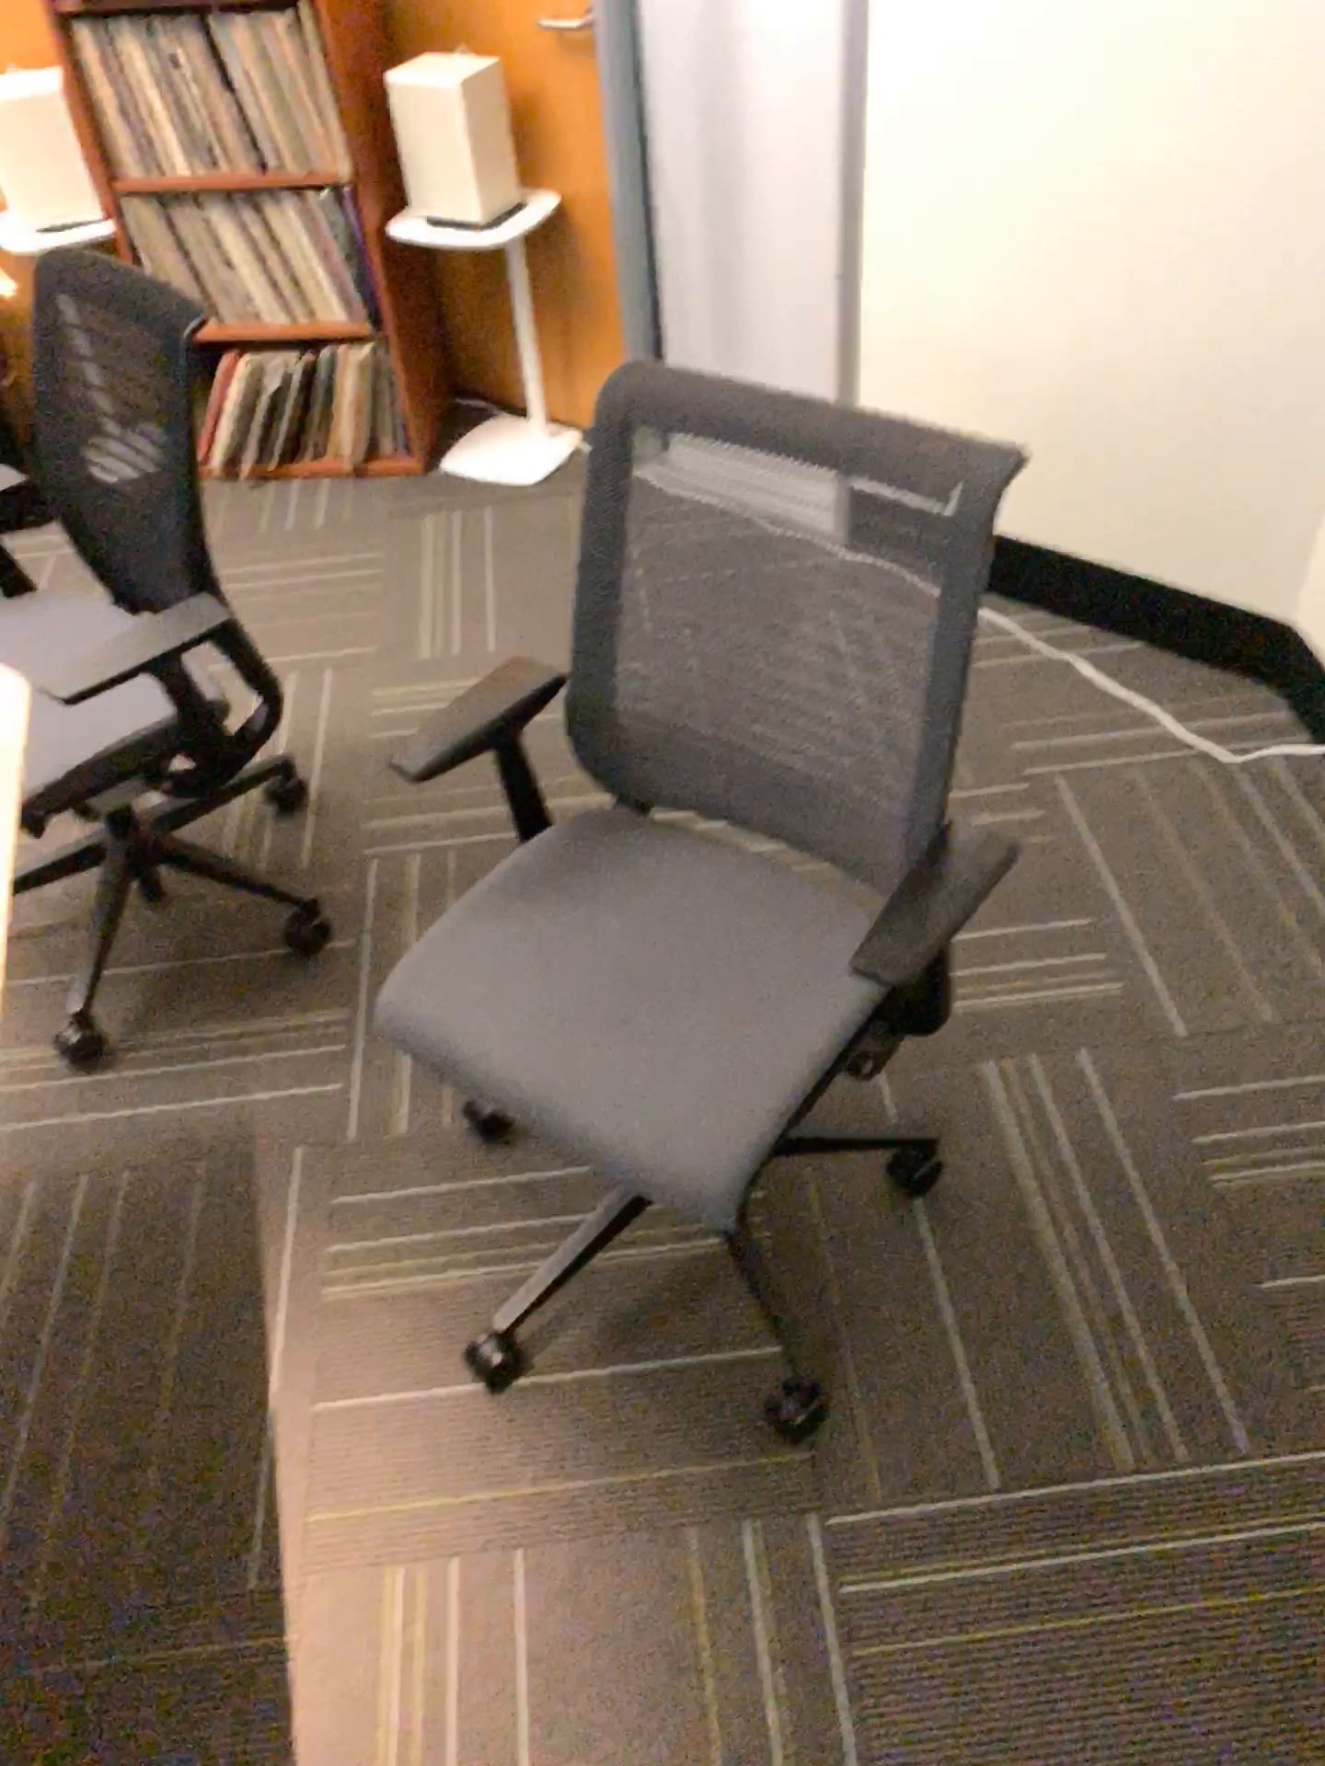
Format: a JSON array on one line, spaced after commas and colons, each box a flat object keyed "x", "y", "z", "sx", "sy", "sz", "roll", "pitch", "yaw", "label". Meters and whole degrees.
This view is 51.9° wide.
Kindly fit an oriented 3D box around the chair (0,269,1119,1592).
[{"x": -0.080, "y": 0.055, "z": 1.596, "sx": 0.793, "sy": 1.114, "sz": 0.802, "roll": 21, "pitch": 51, "yaw": 24, "label": "chair"}]
